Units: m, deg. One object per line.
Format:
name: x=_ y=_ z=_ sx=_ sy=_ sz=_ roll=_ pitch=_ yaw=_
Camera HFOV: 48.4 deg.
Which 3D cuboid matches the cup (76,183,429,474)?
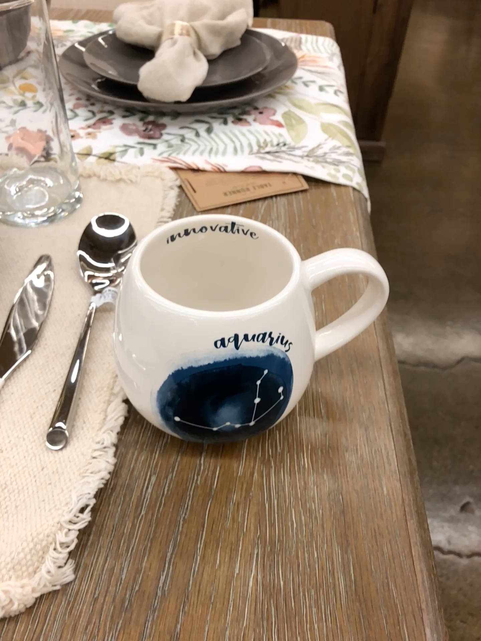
cup: x=0.001 y=-0.001 z=0.263 sx=0.134 sy=0.081 sz=0.083 roll=-13 pitch=45 yaw=-16
